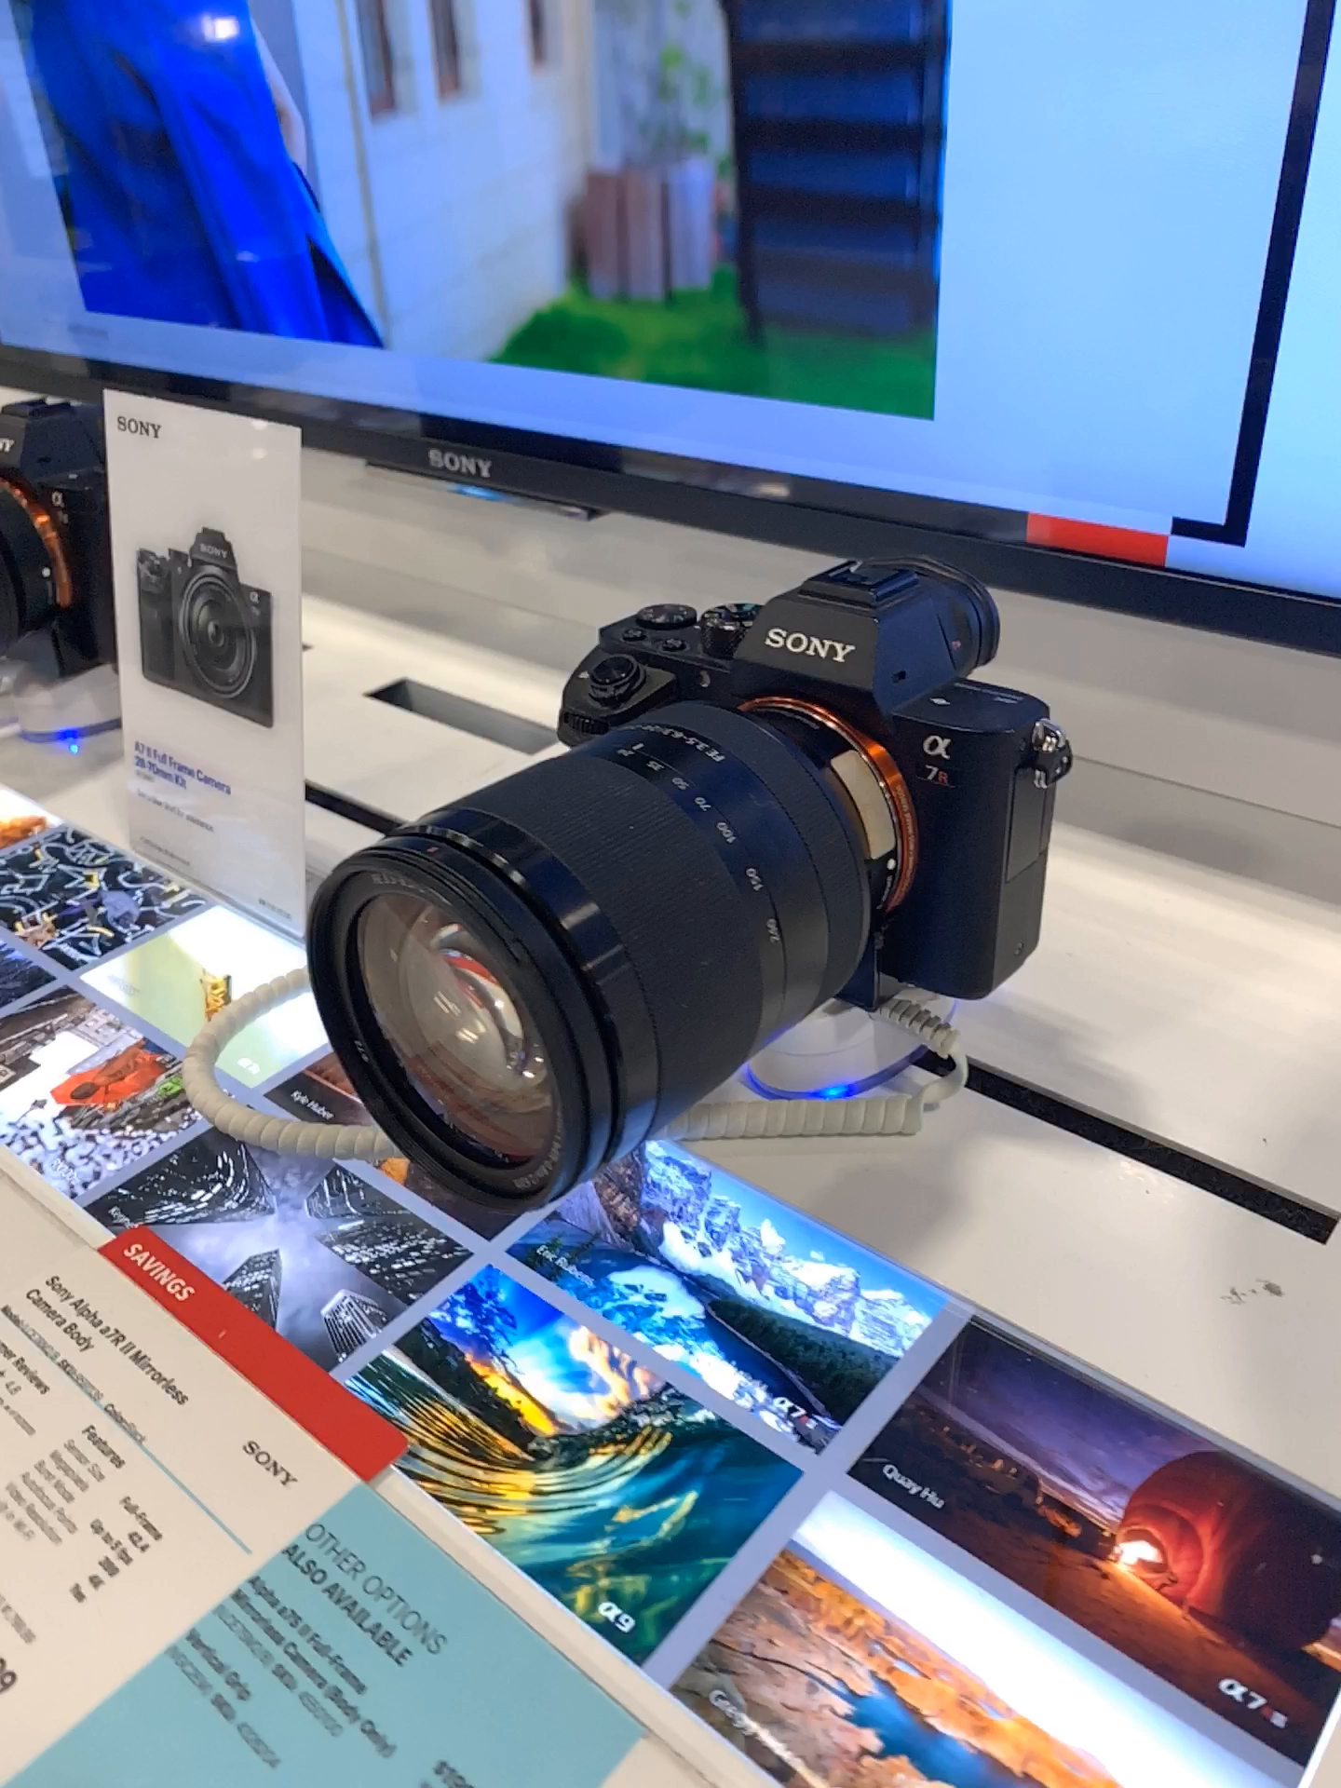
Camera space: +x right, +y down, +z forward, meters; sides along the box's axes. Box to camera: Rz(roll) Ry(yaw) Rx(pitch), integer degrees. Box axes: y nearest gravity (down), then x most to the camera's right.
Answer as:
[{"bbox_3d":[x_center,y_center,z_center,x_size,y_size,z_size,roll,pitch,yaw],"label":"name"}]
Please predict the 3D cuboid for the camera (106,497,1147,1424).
[{"bbox_3d":[0.001,-0.008,0.306,0.130,0.099,0.172,20,38,34],"label":"camera"}]
